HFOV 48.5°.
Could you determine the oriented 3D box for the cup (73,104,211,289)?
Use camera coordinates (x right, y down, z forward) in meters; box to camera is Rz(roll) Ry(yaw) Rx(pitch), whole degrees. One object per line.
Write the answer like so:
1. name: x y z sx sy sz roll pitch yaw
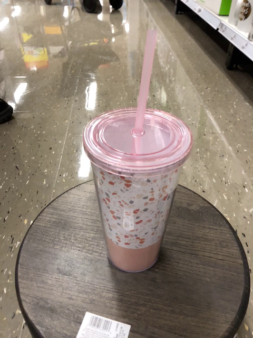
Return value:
1. cup: 0.007 0.029 0.283 0.090 0.149 0.090 1 39 0
